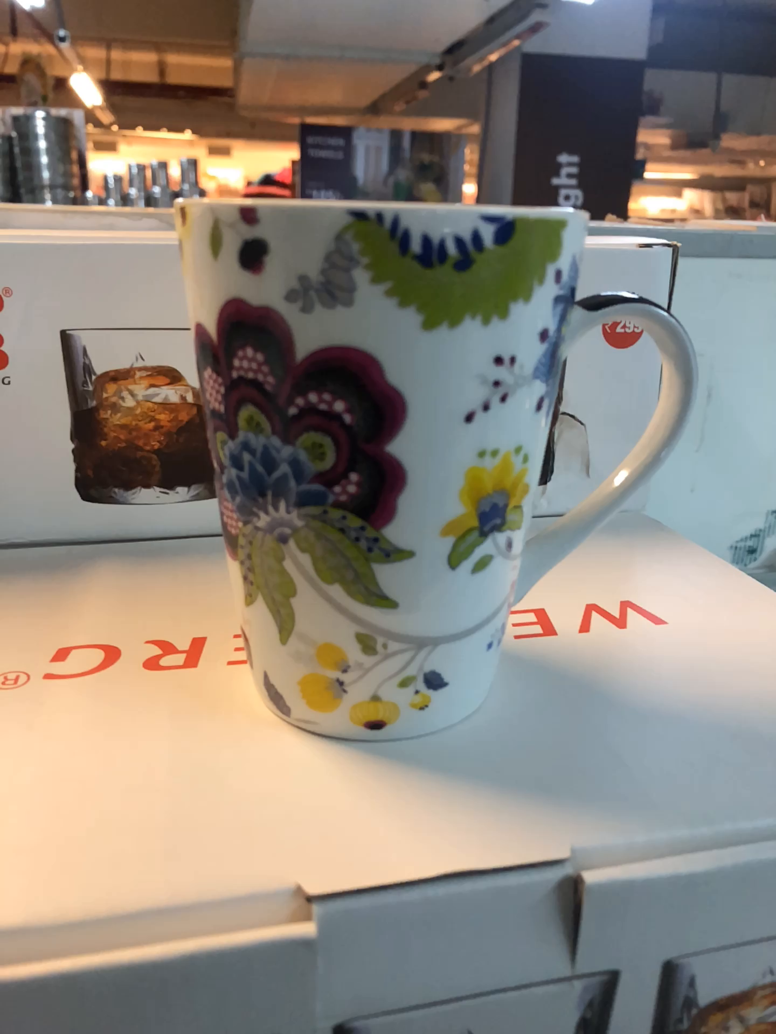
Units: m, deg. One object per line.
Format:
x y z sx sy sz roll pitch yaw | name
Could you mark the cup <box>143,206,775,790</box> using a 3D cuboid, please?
0.013 -0.015 0.199 0.120 0.100 0.080 -5 19 -22 | cup
